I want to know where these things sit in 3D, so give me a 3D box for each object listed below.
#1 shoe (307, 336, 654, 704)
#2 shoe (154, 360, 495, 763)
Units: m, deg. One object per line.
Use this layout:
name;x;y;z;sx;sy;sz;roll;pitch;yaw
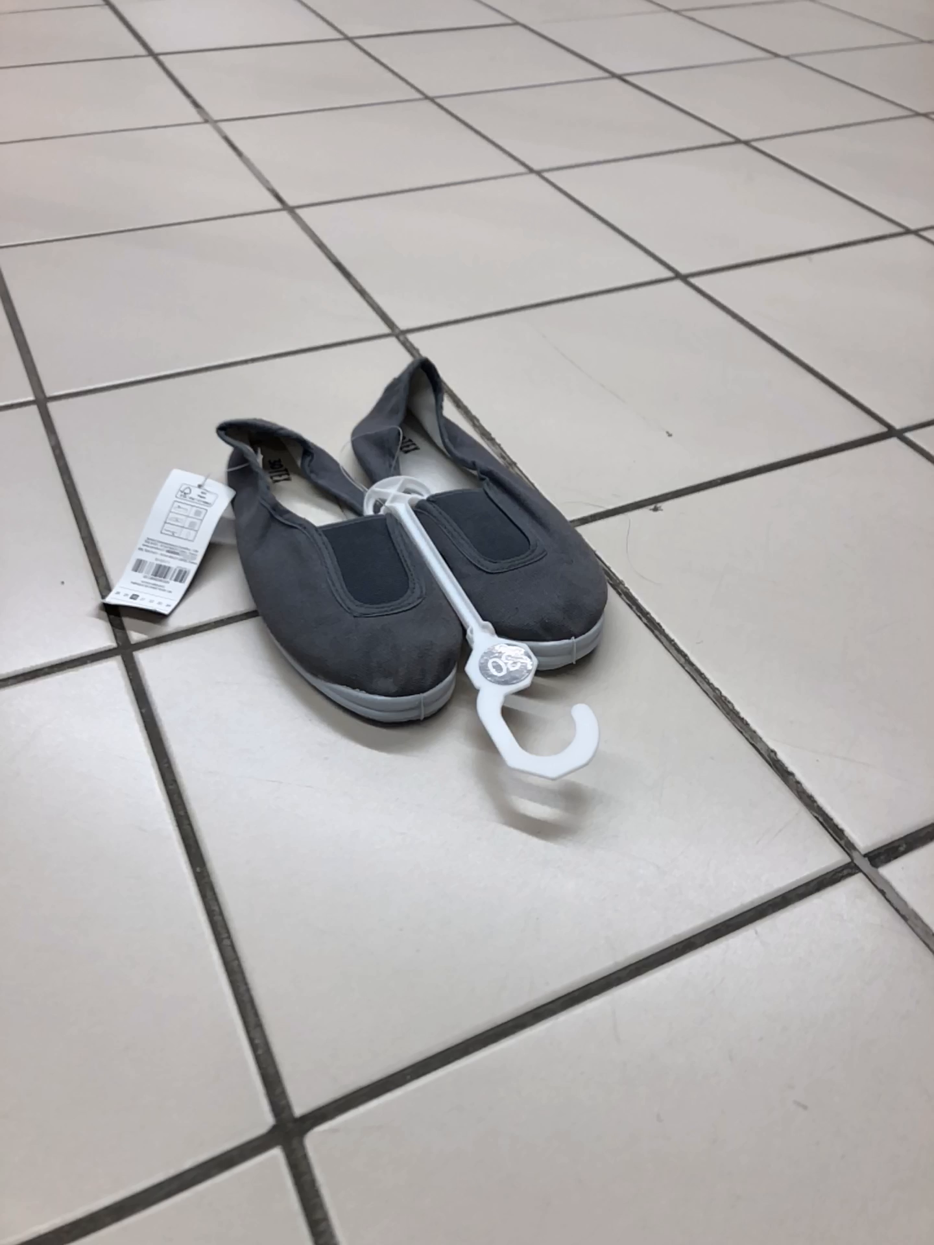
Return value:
shoe;-0.003;-0.054;0.441;0.071;0.046;0.186;-16;46;-19
shoe;-0.065;-0.036;0.418;0.077;0.046;0.186;-16;46;-19
